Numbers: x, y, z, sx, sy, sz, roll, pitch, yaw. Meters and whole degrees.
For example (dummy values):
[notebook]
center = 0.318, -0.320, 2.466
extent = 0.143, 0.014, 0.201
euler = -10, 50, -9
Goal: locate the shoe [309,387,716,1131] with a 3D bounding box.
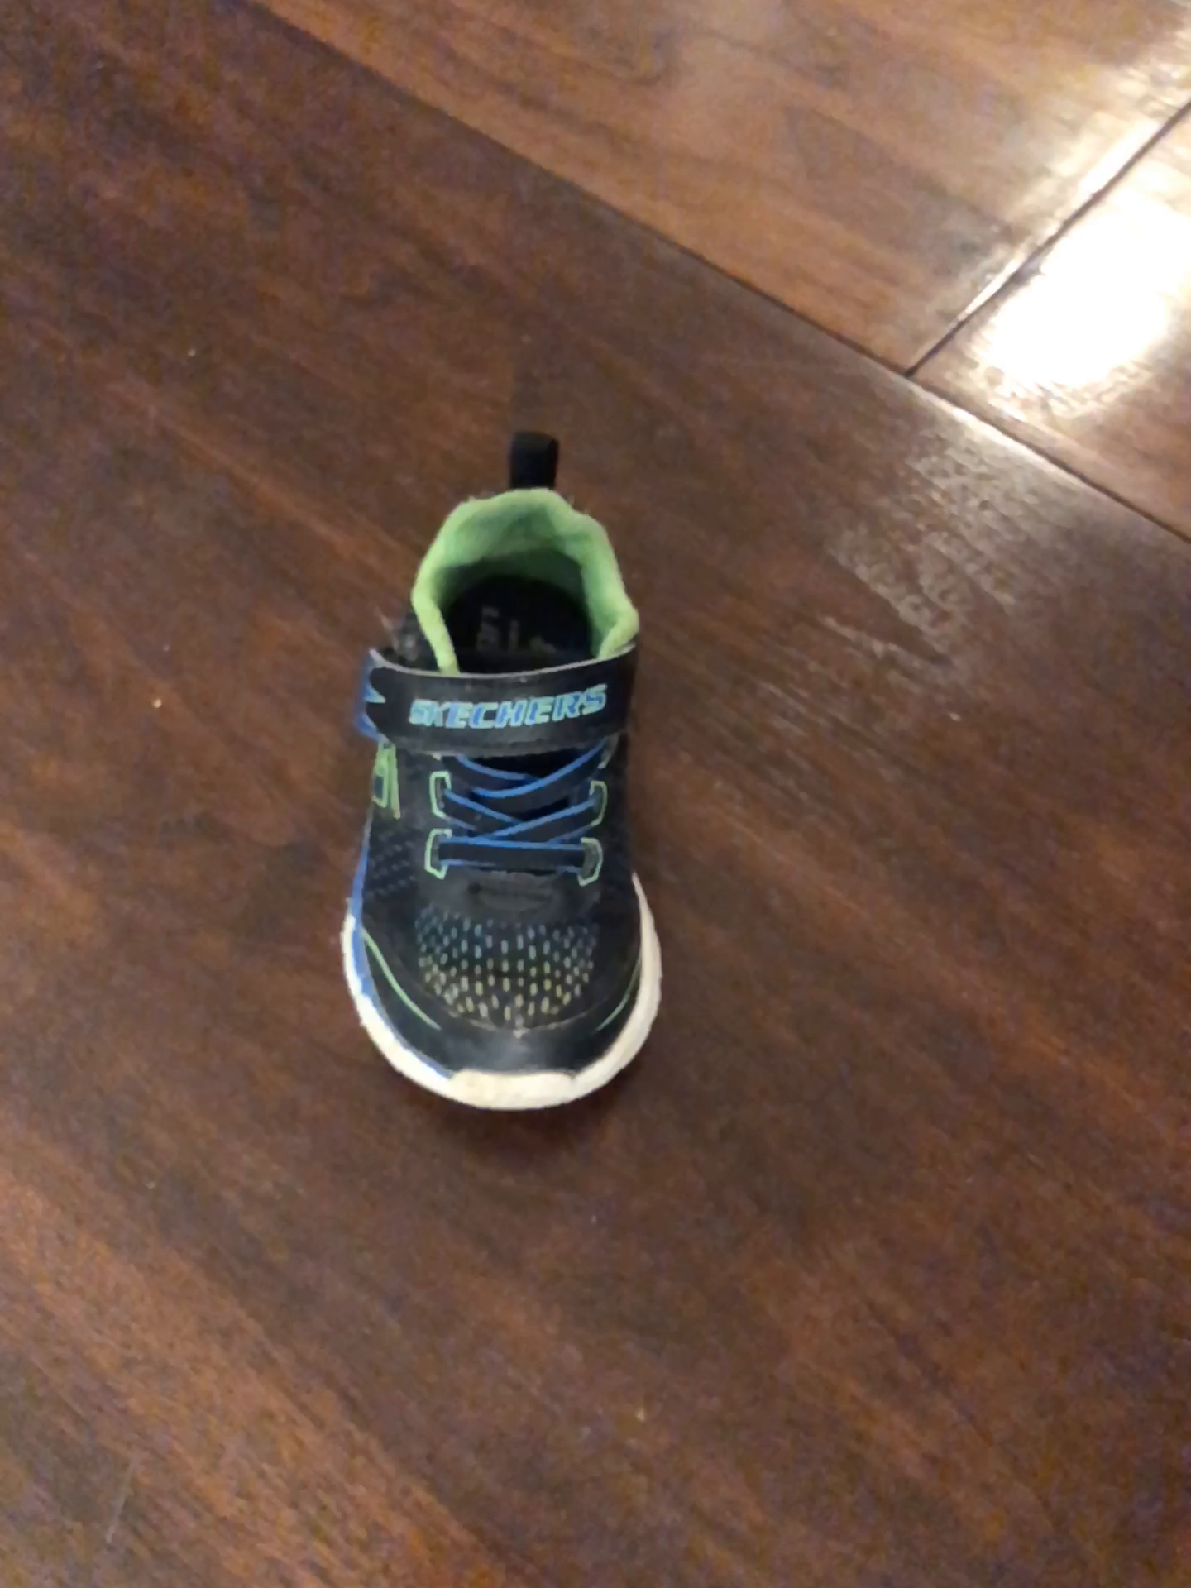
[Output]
[shoe]
center = -0.017, -0.011, 0.340
extent = 0.080, 0.080, 0.170
euler = 2, 60, -2
